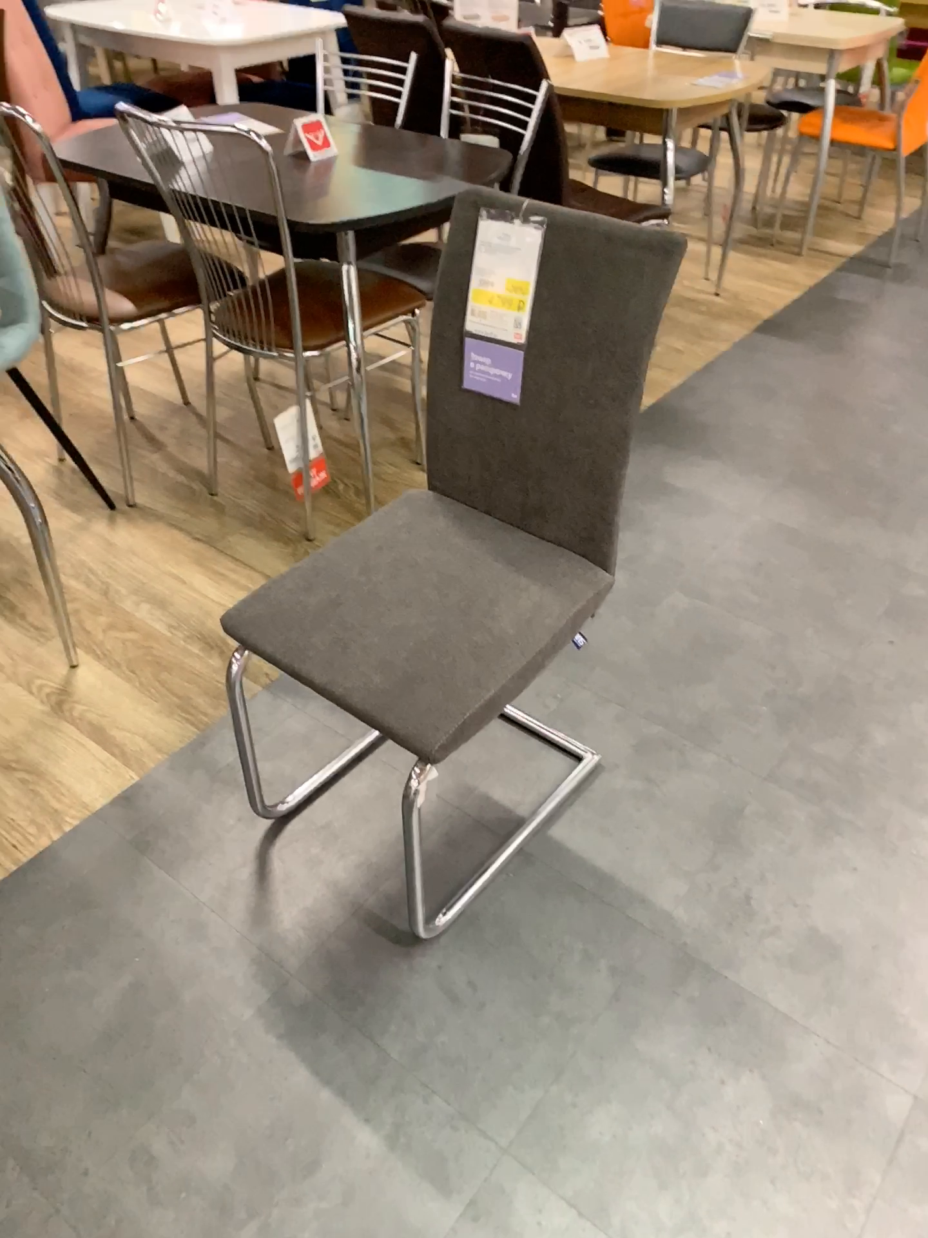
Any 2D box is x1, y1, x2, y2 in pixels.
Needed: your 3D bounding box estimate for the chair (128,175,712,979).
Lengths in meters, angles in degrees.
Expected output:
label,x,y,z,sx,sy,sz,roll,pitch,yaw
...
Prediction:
label,x,y,z,sx,sy,sz,roll,pitch,yaw
chair,-0.035,-0.047,1.417,0.436,0.974,0.541,27,46,29
